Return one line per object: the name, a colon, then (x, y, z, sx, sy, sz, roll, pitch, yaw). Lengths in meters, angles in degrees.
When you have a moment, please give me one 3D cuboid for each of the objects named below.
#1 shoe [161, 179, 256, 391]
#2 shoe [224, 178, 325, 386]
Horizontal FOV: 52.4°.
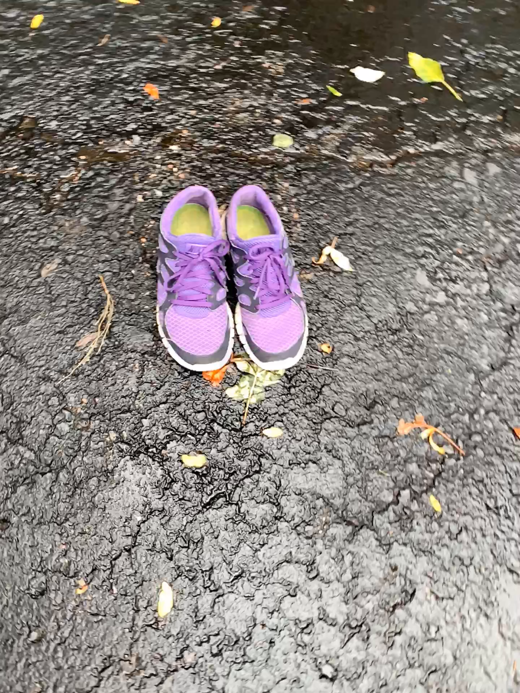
shoe: (-0.082, -0.093, 0.792, 0.110, 0.090, 0.300, -4, 75, -10)
shoe: (0.016, -0.098, 0.819, 0.110, 0.100, 0.300, -4, 79, -10)
